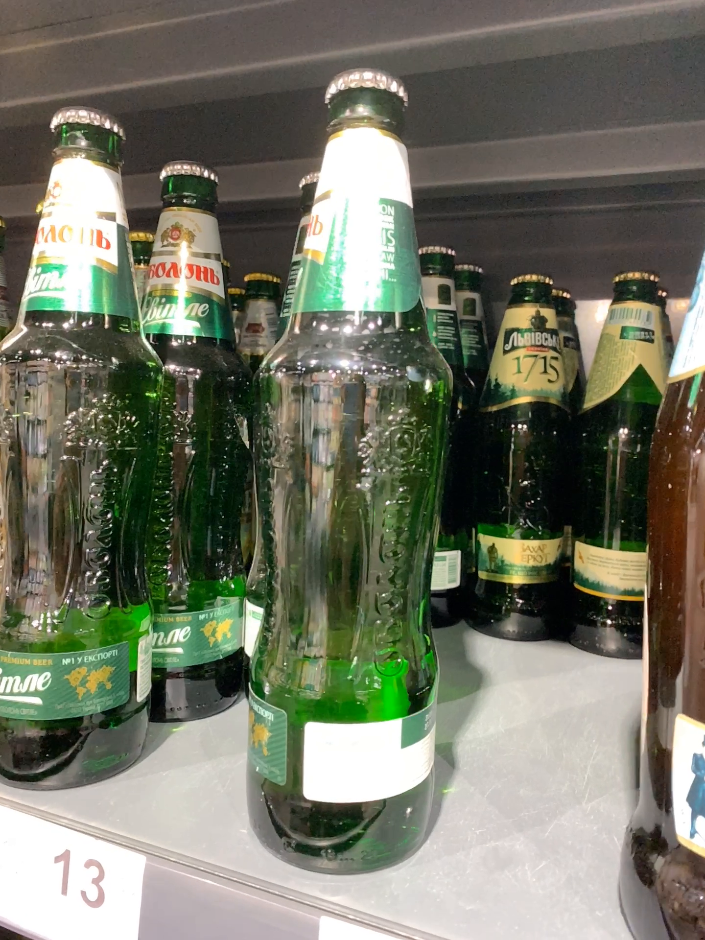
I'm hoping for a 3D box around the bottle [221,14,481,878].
[{"bbox_3d":[-0.001,-0.006,0.255,0.070,0.257,0.073,2,4,0],"label":"bottle"}]
